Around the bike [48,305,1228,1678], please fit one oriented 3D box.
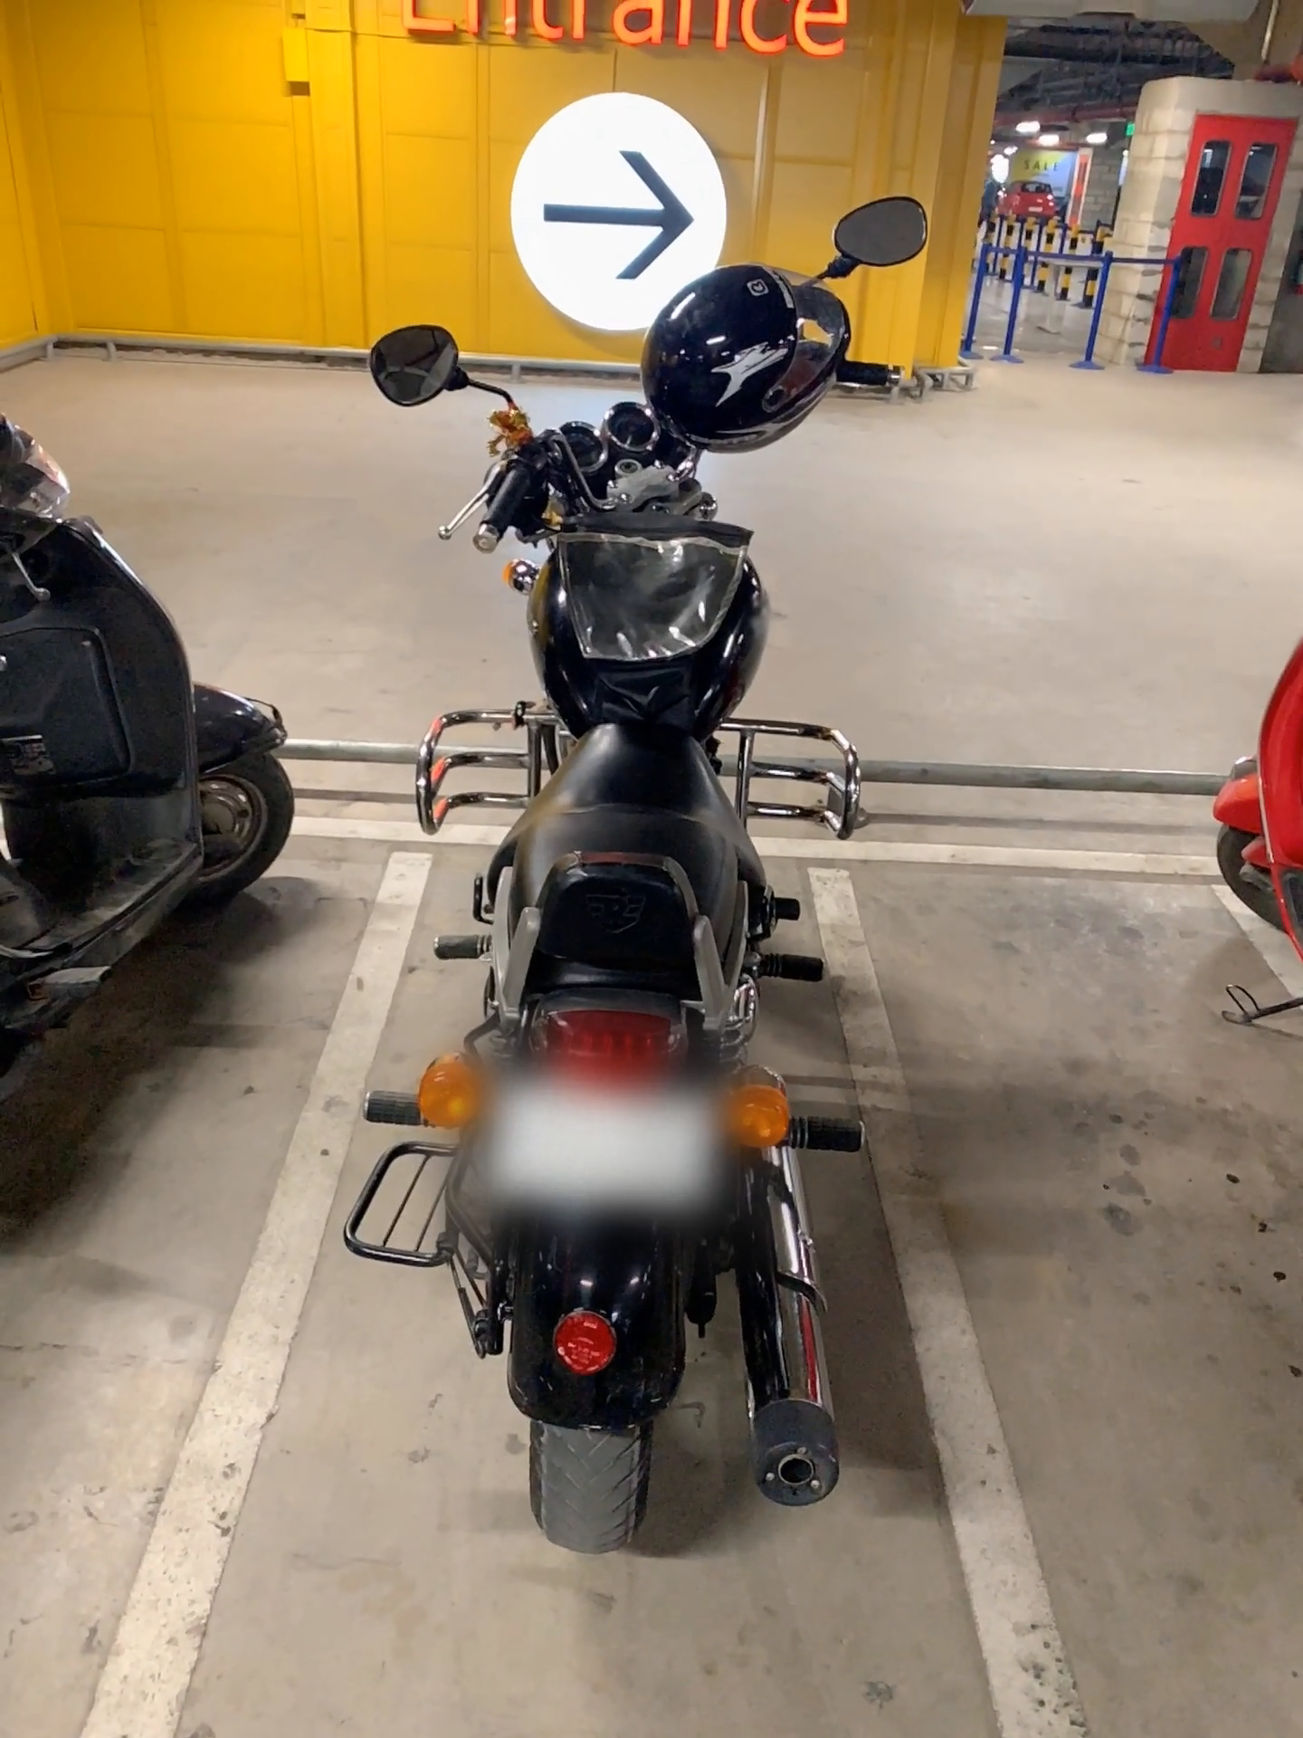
[{"bbox_3d":[-0.113,-0.130,2.137,0.828,1.229,2.087,1,27,-5],"label":"bike"}]
